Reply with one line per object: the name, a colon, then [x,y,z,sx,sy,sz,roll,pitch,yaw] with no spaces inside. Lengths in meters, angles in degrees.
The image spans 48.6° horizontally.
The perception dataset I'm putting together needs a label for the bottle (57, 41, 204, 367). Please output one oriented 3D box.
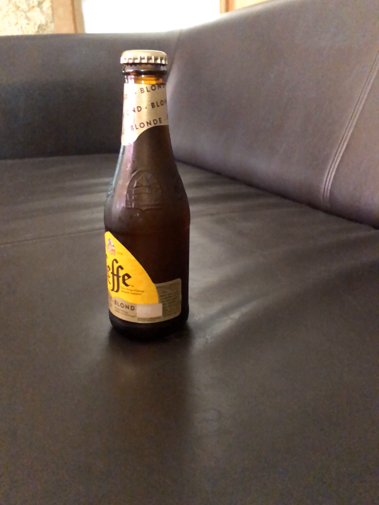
bottle: [-0.034,-0.030,0.278,0.060,0.189,0.060,-2,20,1]
